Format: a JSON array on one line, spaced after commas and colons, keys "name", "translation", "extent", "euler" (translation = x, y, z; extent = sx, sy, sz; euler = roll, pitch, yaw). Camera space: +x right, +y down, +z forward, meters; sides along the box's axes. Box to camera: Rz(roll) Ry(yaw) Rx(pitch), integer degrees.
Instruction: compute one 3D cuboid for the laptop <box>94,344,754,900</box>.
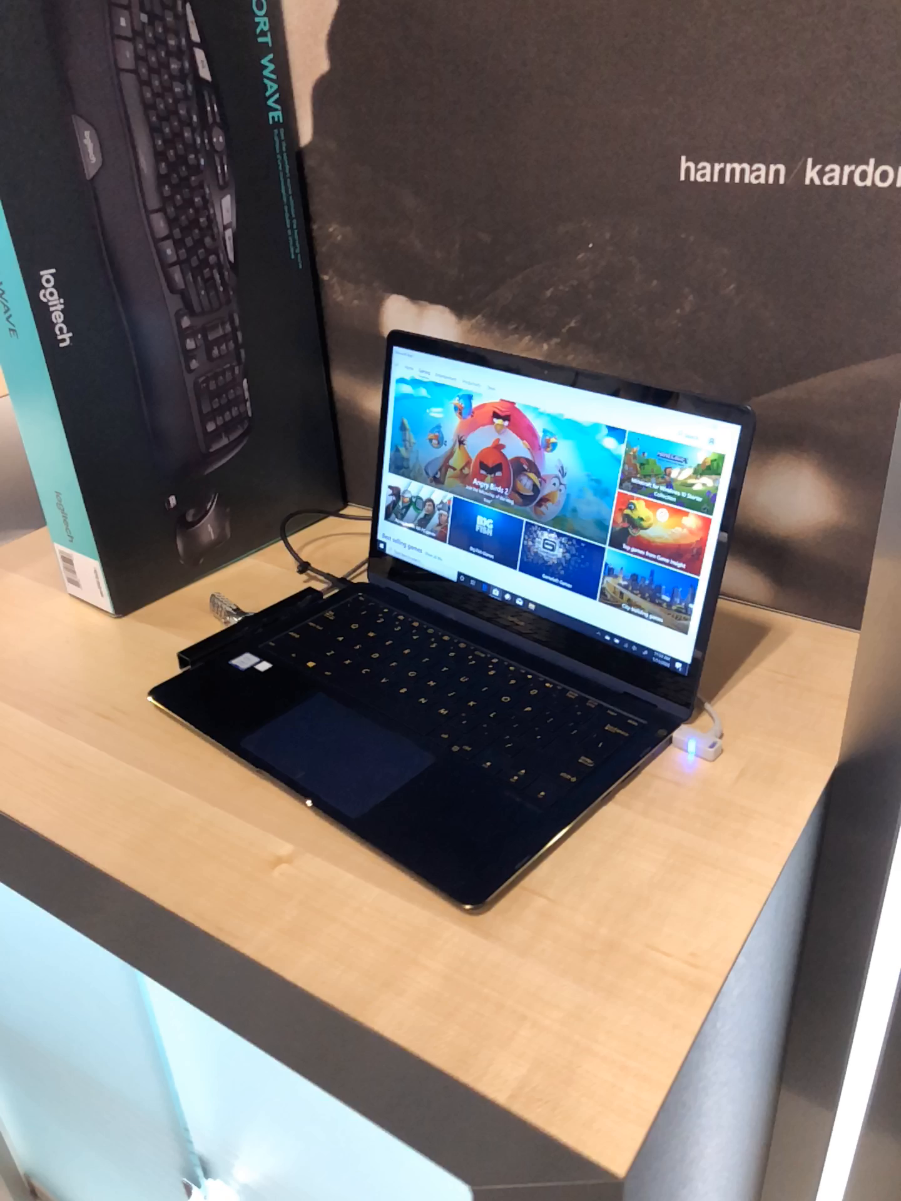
[{"name": "laptop", "translation": [-0.015, -0.020, 0.626], "extent": [0.292, 0.190, 0.248], "euler": [22, 38, 37]}]
